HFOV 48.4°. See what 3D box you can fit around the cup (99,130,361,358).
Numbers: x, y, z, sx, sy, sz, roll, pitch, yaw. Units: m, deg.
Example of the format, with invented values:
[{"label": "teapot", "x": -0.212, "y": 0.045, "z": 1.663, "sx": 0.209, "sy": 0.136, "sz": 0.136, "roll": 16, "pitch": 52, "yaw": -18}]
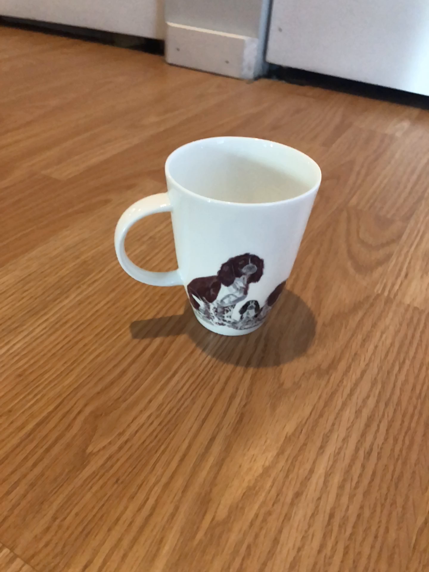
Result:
[{"label": "cup", "x": 0.000, "y": -0.030, "z": 0.283, "sx": 0.120, "sy": 0.090, "sz": 0.090, "roll": -7, "pitch": 40, "yaw": -14}]
